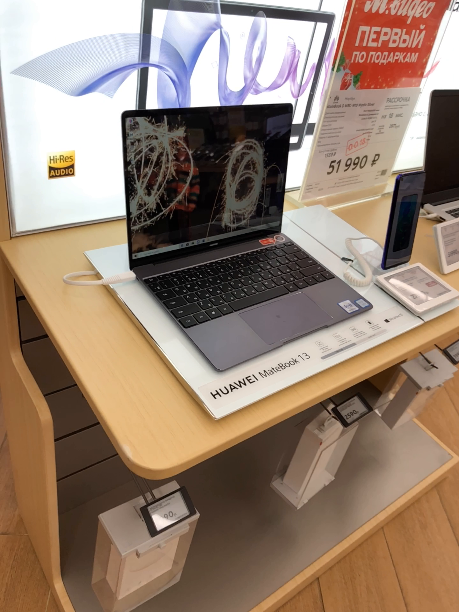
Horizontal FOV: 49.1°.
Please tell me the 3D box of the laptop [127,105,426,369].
[{"bbox_3d":[0.048,-0.114,0.659,0.275,0.192,0.244,-17,47,-34],"label":"laptop"}]
